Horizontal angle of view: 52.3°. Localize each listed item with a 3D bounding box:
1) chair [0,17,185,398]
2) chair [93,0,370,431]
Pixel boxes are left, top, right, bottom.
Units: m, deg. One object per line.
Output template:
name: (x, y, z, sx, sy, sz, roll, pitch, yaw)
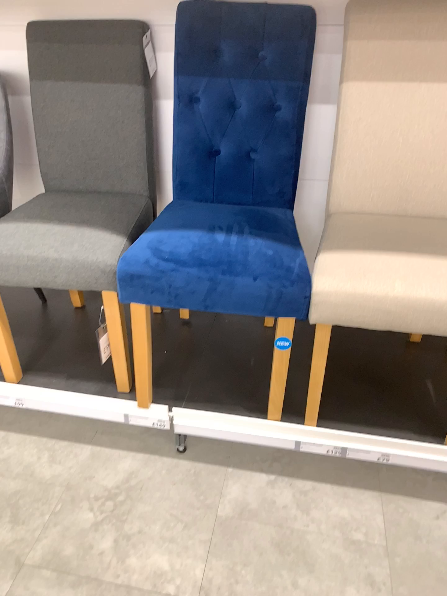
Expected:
chair: (-0.382, -0.279, 1.312, 0.413, 0.890, 0.625, 4, 32, 4)
chair: (0.036, -0.210, 1.170, 0.433, 0.929, 0.524, 6, 33, 7)
